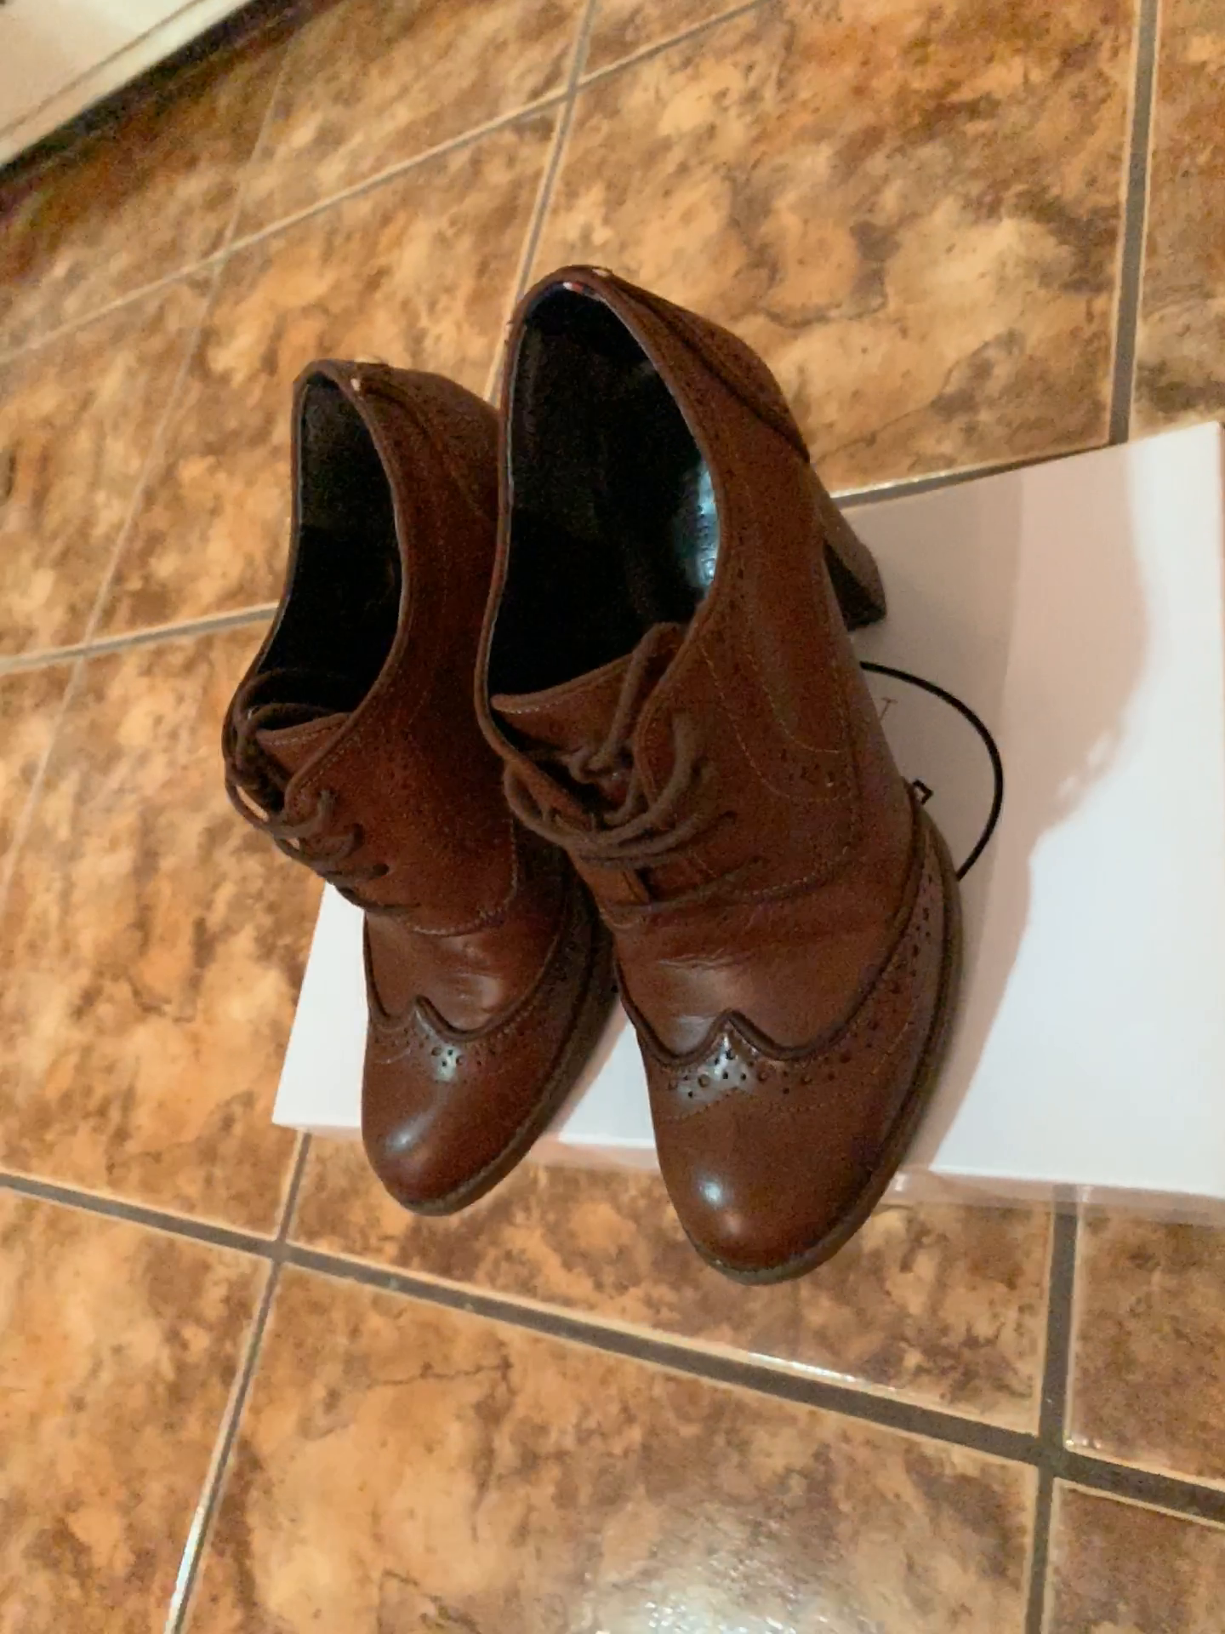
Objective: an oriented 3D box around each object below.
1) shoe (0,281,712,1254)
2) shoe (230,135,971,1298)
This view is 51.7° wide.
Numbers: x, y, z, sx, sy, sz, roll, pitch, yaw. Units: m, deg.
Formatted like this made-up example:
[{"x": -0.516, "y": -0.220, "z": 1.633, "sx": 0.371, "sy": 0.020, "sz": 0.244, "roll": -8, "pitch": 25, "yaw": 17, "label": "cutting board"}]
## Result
[{"x": -0.066, "y": -0.007, "z": 0.371, "sx": 0.096, "sy": 0.137, "sz": 0.228, "roll": -2, "pitch": 67, "yaw": 37, "label": "shoe"}, {"x": 0.016, "y": -0.013, "z": 0.310, "sx": 0.096, "sy": 0.137, "sz": 0.228, "roll": -10, "pitch": 62, "yaw": 34, "label": "shoe"}]
